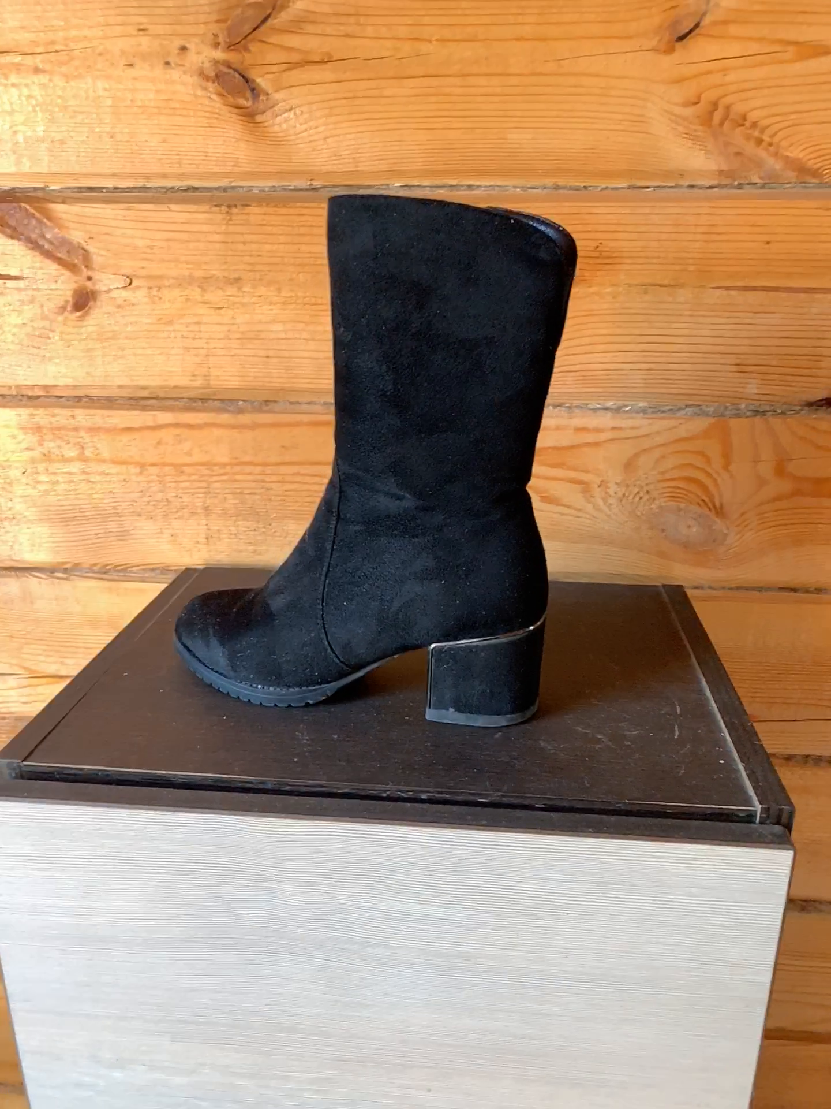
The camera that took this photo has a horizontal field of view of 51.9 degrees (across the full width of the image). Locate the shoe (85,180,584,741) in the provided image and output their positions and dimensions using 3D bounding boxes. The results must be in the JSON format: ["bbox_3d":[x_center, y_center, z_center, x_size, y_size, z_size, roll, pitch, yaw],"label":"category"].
[{"bbox_3d":[-0.035,-0.056,0.473,0.232,0.268,0.101,4,18,12],"label":"shoe"}]
